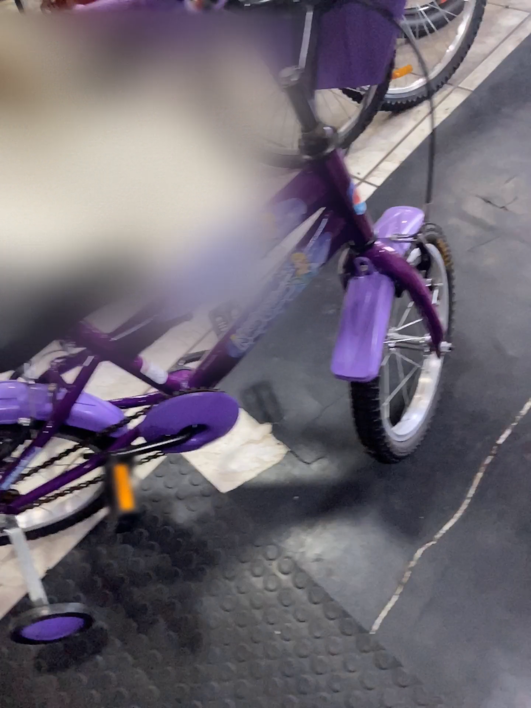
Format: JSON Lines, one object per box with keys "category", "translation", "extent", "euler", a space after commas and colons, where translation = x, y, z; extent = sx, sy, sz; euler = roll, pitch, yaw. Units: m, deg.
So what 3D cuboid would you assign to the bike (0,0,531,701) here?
{"category": "bike", "translation": [-0.155, -0.045, 0.695], "extent": [0.971, 0.743, 0.449], "euler": [-26, 56, -6]}
